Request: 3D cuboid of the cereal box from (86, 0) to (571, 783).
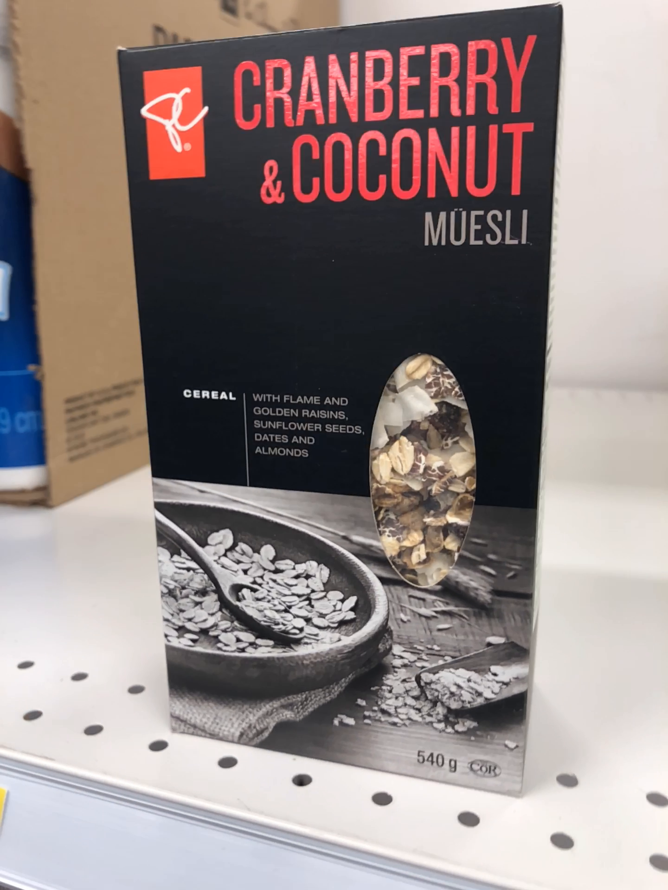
[{"bbox_3d":[0.005,-0.017,0.232,0.120,0.200,0.070,3,13,17],"label":"cereal box"}]
